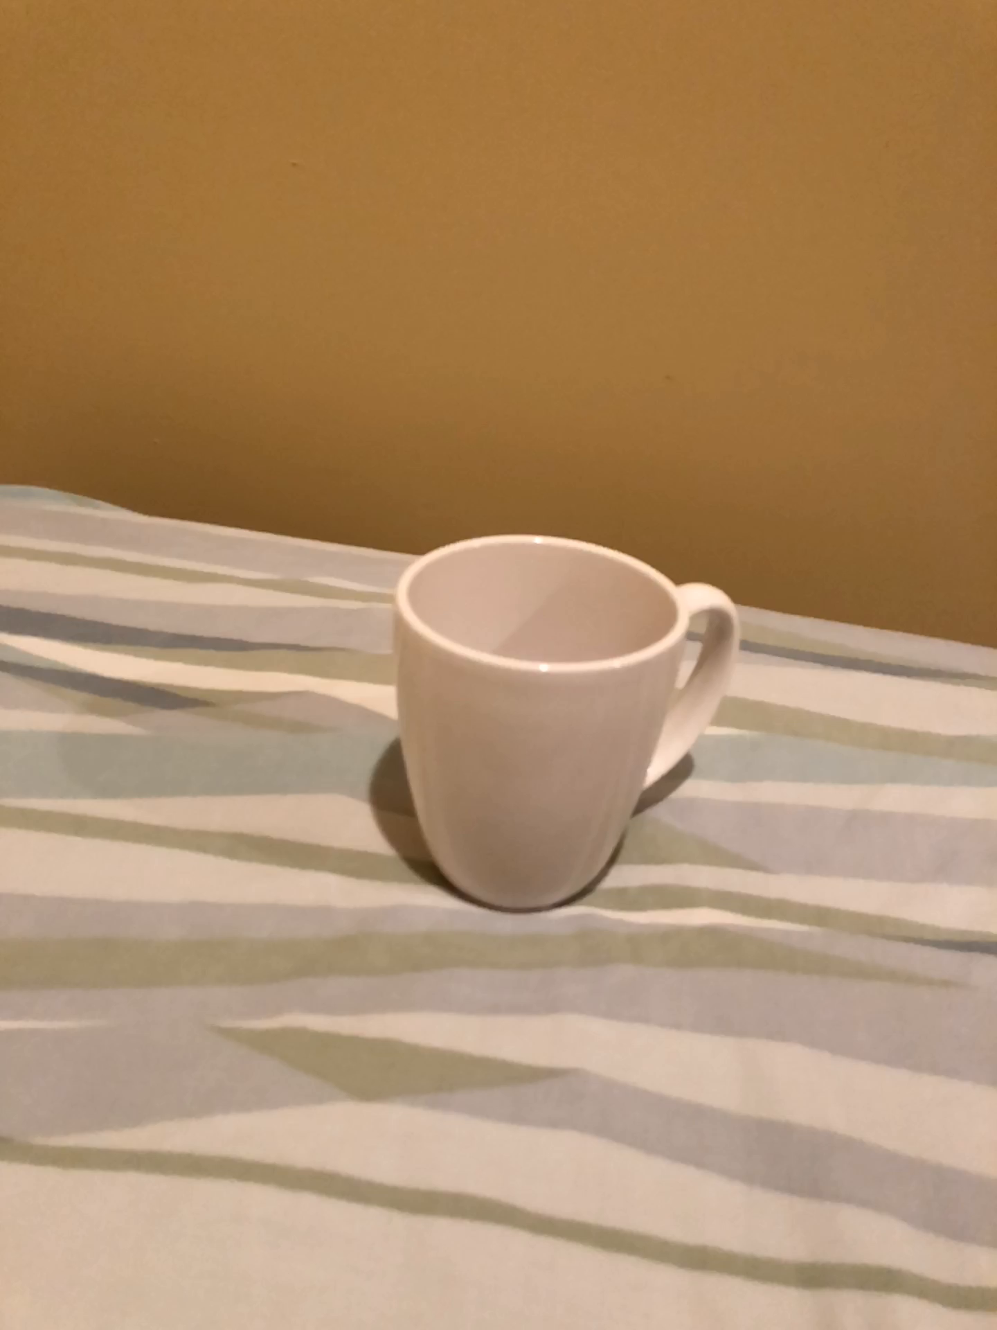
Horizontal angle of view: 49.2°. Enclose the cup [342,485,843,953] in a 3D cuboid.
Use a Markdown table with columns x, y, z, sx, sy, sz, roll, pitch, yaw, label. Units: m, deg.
| x | y | z | sx | sy | sz | roll | pitch | yaw | label |
| --- | --- | --- | --- | --- | --- | --- | --- | --- | --- |
| 0.024 | 0.009 | 0.349 | 0.120 | 0.090 | 0.090 | -14 | 36 | -27 | cup |
